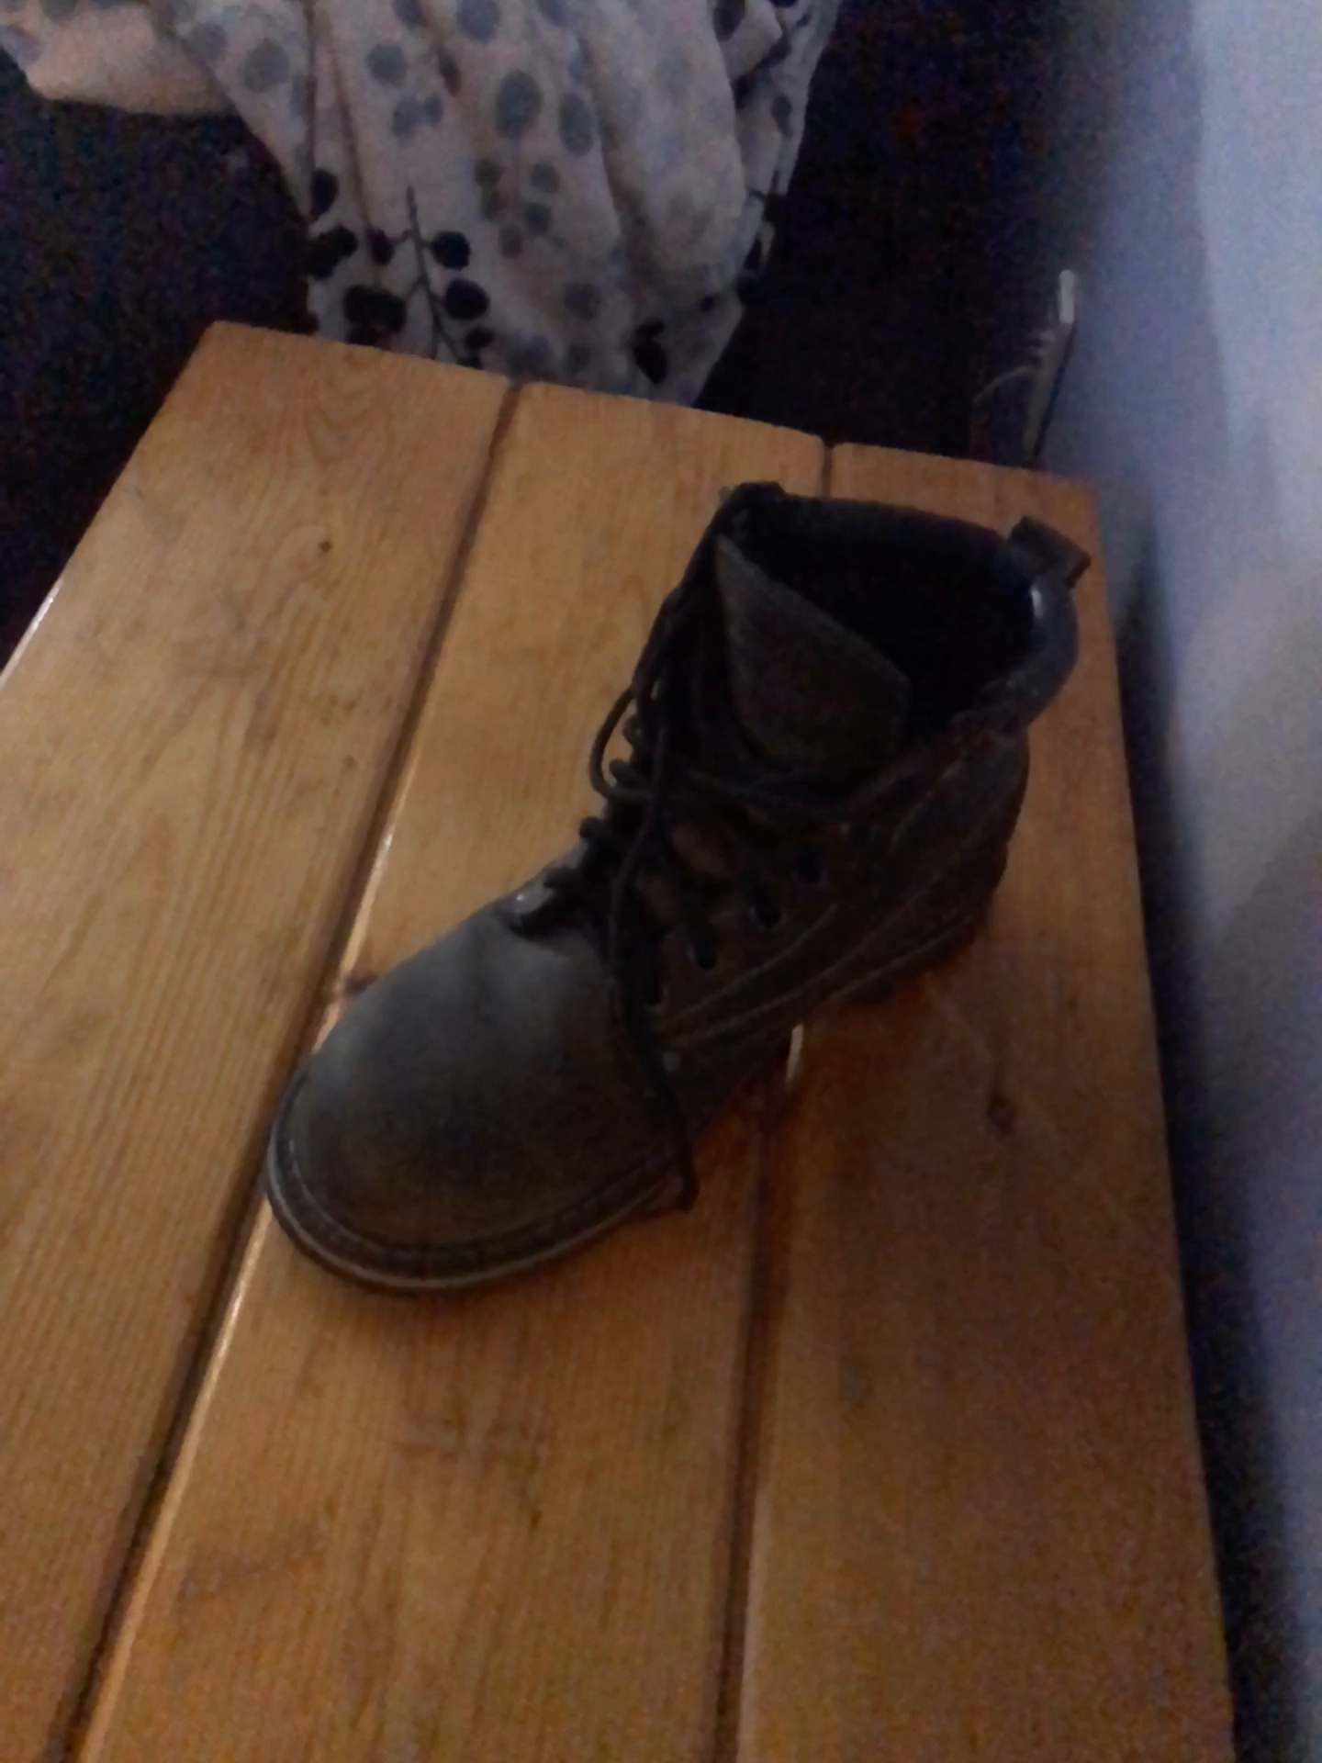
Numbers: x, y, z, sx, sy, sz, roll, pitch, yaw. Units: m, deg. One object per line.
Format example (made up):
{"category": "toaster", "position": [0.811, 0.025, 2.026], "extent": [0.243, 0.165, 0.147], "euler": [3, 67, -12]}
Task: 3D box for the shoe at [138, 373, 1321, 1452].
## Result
{"category": "shoe", "position": [0.032, -0.001, 0.458], "extent": [0.320, 0.190, 0.130], "euler": [-28, 60, -27]}
